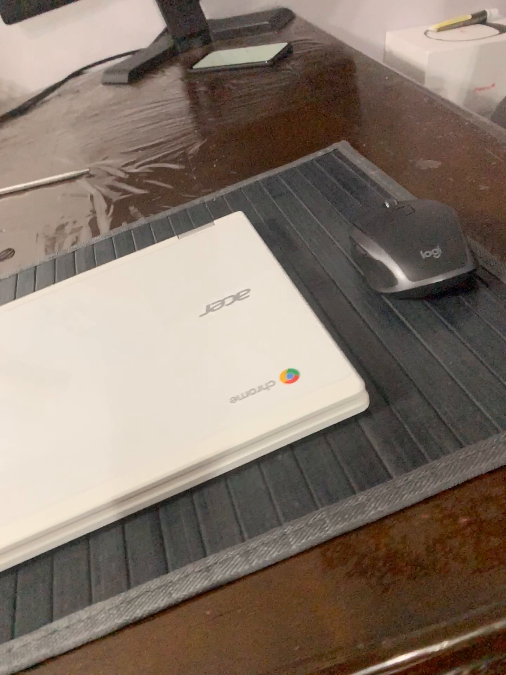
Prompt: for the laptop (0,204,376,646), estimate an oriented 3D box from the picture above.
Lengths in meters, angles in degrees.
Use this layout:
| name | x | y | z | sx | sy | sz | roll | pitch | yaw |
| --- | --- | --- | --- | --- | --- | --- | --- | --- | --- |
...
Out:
| name | x | y | z | sx | sy | sz | roll | pitch | yaw |
| --- | --- | --- | --- | --- | --- | --- | --- | --- | --- |
| laptop | -0.104 | 0.017 | 0.296 | 0.278 | 0.002 | 0.195 | -23 | 41 | -2 |
